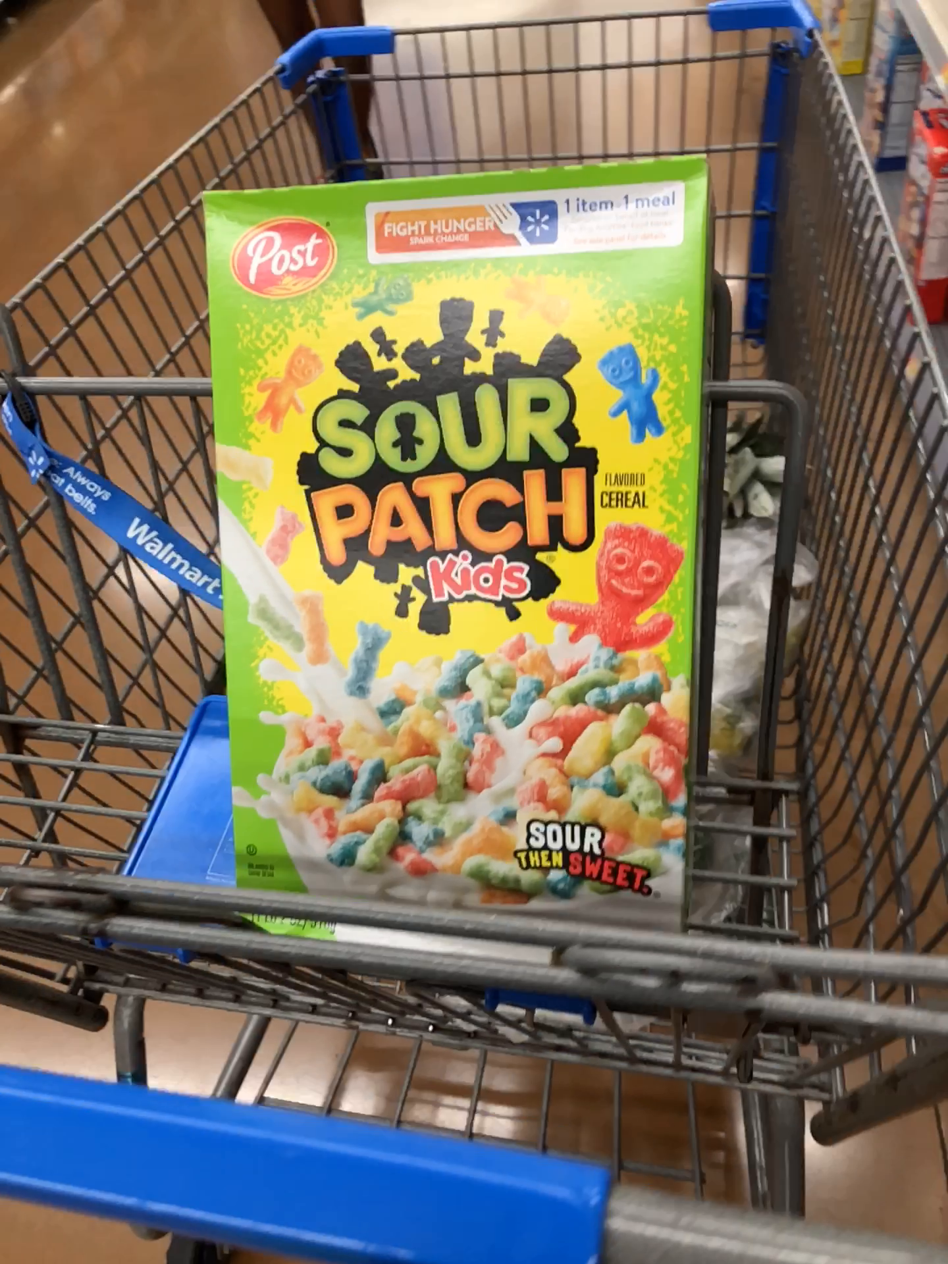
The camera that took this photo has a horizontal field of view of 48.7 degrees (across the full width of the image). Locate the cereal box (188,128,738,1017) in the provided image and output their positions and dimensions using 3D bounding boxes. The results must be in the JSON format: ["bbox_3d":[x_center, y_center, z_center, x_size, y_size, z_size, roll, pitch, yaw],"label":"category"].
[{"bbox_3d":[0.000,-0.020,0.439,0.200,0.320,0.080,3,11,15],"label":"cereal box"}]
